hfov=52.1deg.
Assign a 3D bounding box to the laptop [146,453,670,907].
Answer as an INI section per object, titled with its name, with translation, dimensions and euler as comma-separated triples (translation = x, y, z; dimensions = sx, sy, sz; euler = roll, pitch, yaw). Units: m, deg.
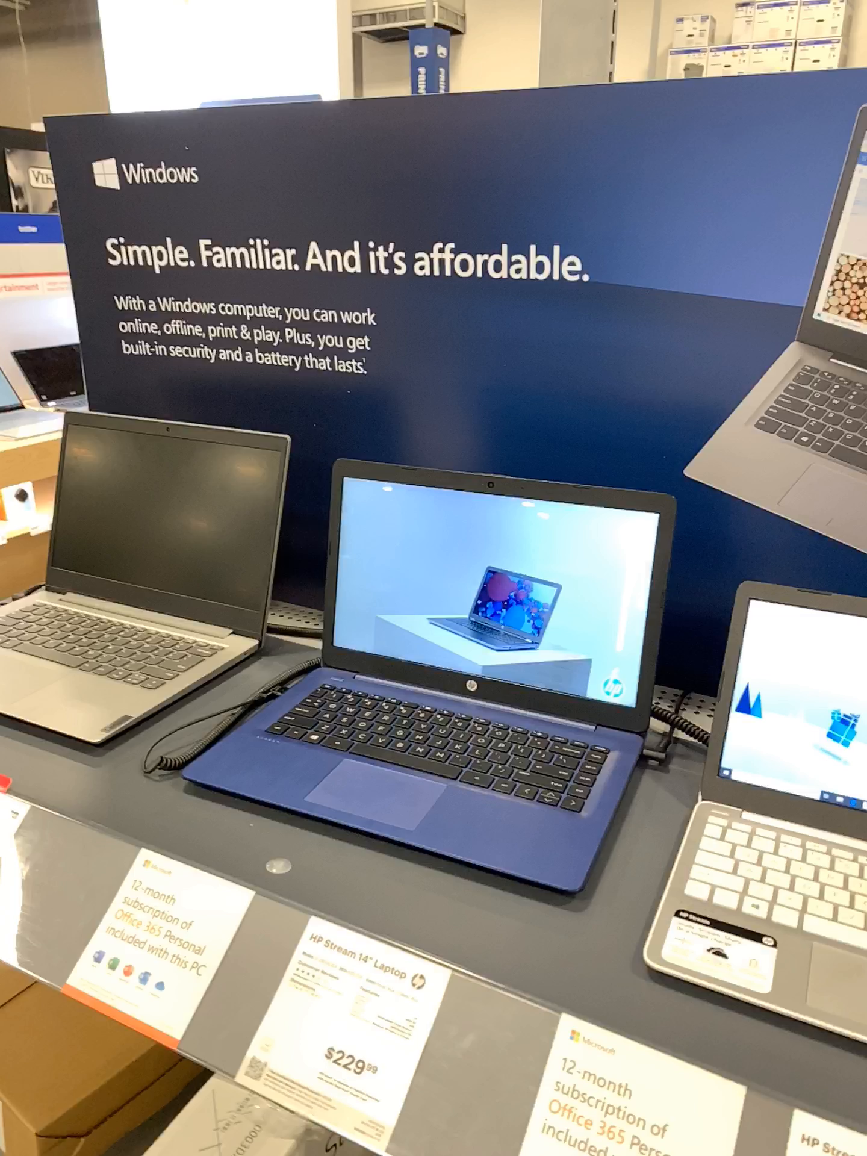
[laptop]
translation = -0.006, 0.047, 0.707
dimensions = 0.322, 0.208, 0.253
euler = 10, 22, 22
